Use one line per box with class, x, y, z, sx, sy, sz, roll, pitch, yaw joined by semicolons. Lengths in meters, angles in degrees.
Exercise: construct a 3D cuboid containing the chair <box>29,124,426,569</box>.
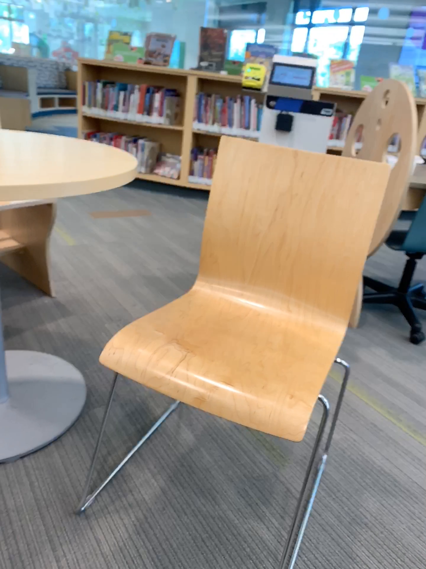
chair;0.053;0.106;0.999;0.560;0.806;0.623;15;25;18
